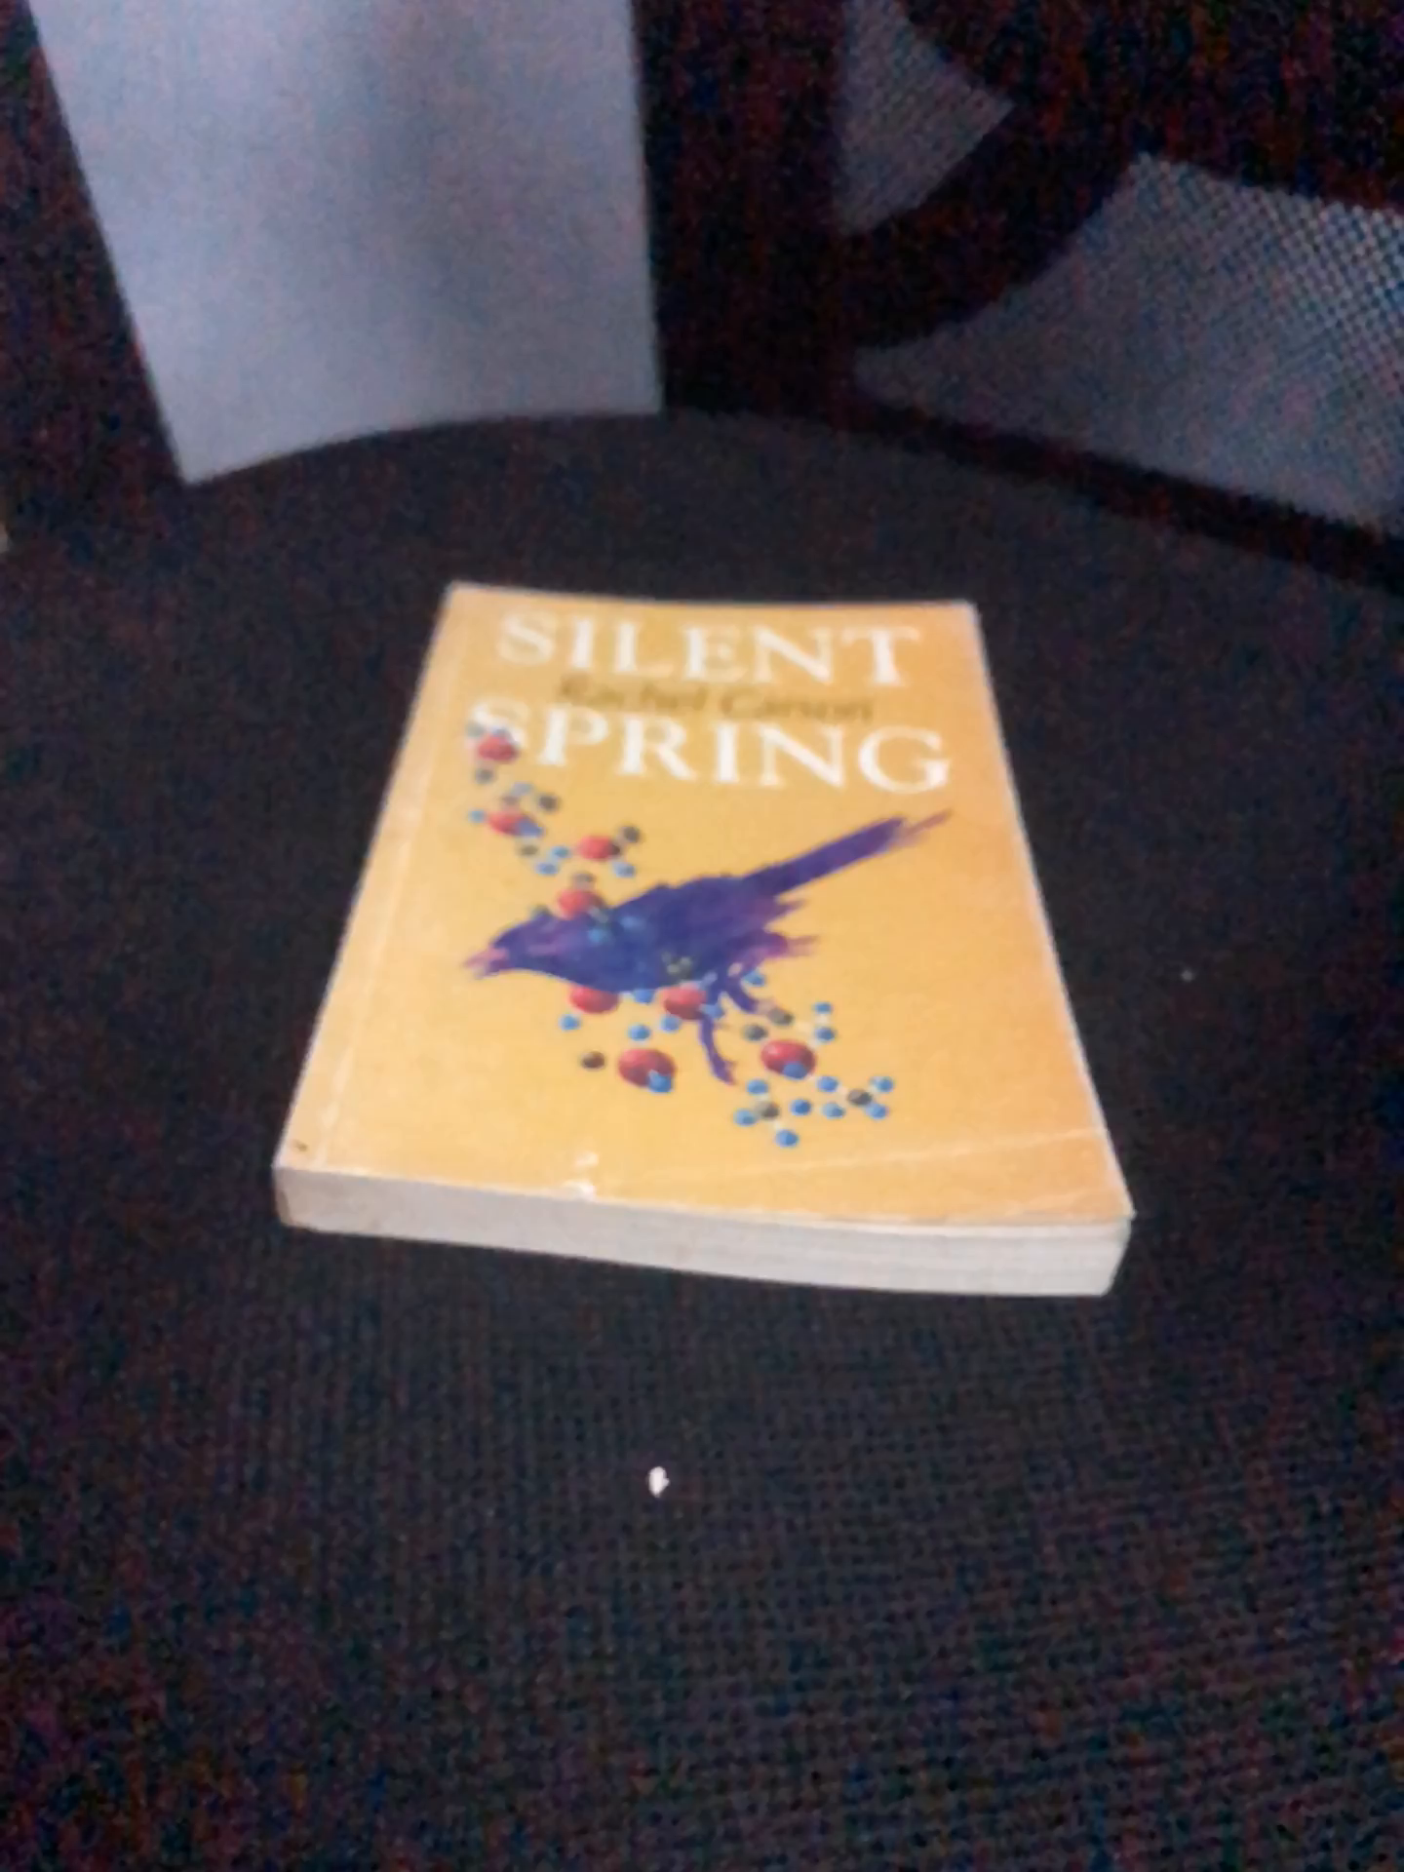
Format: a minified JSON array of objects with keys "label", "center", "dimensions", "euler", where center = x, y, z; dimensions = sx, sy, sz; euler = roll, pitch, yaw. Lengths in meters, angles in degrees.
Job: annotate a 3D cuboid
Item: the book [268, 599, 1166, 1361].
[{"label":"book","center":[0.004,-0.008,0.359],"dimensions":[0.150,0.030,0.221],"euler":[2,40,-1]}]
